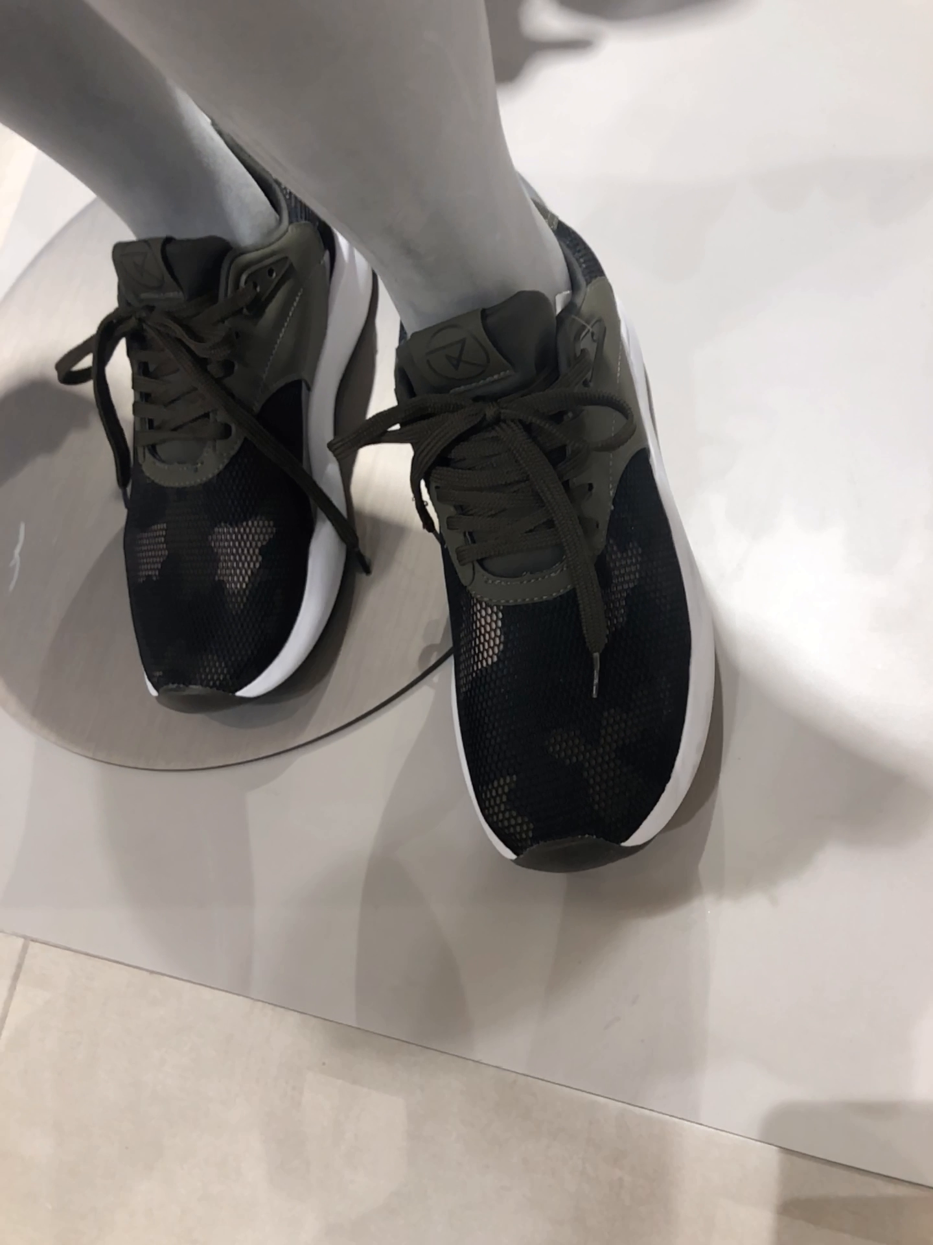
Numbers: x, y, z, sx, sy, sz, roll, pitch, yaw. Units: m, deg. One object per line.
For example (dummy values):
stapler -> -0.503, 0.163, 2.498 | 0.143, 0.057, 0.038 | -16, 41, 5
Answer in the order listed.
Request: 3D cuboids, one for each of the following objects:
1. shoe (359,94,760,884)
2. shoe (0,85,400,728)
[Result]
shoe -> 0.034, -0.049, 0.416 | 0.110, 0.110, 0.281 | -11, 68, 16
shoe -> -0.115, -0.093, 0.482 | 0.100, 0.120, 0.260 | 0, 71, 19
